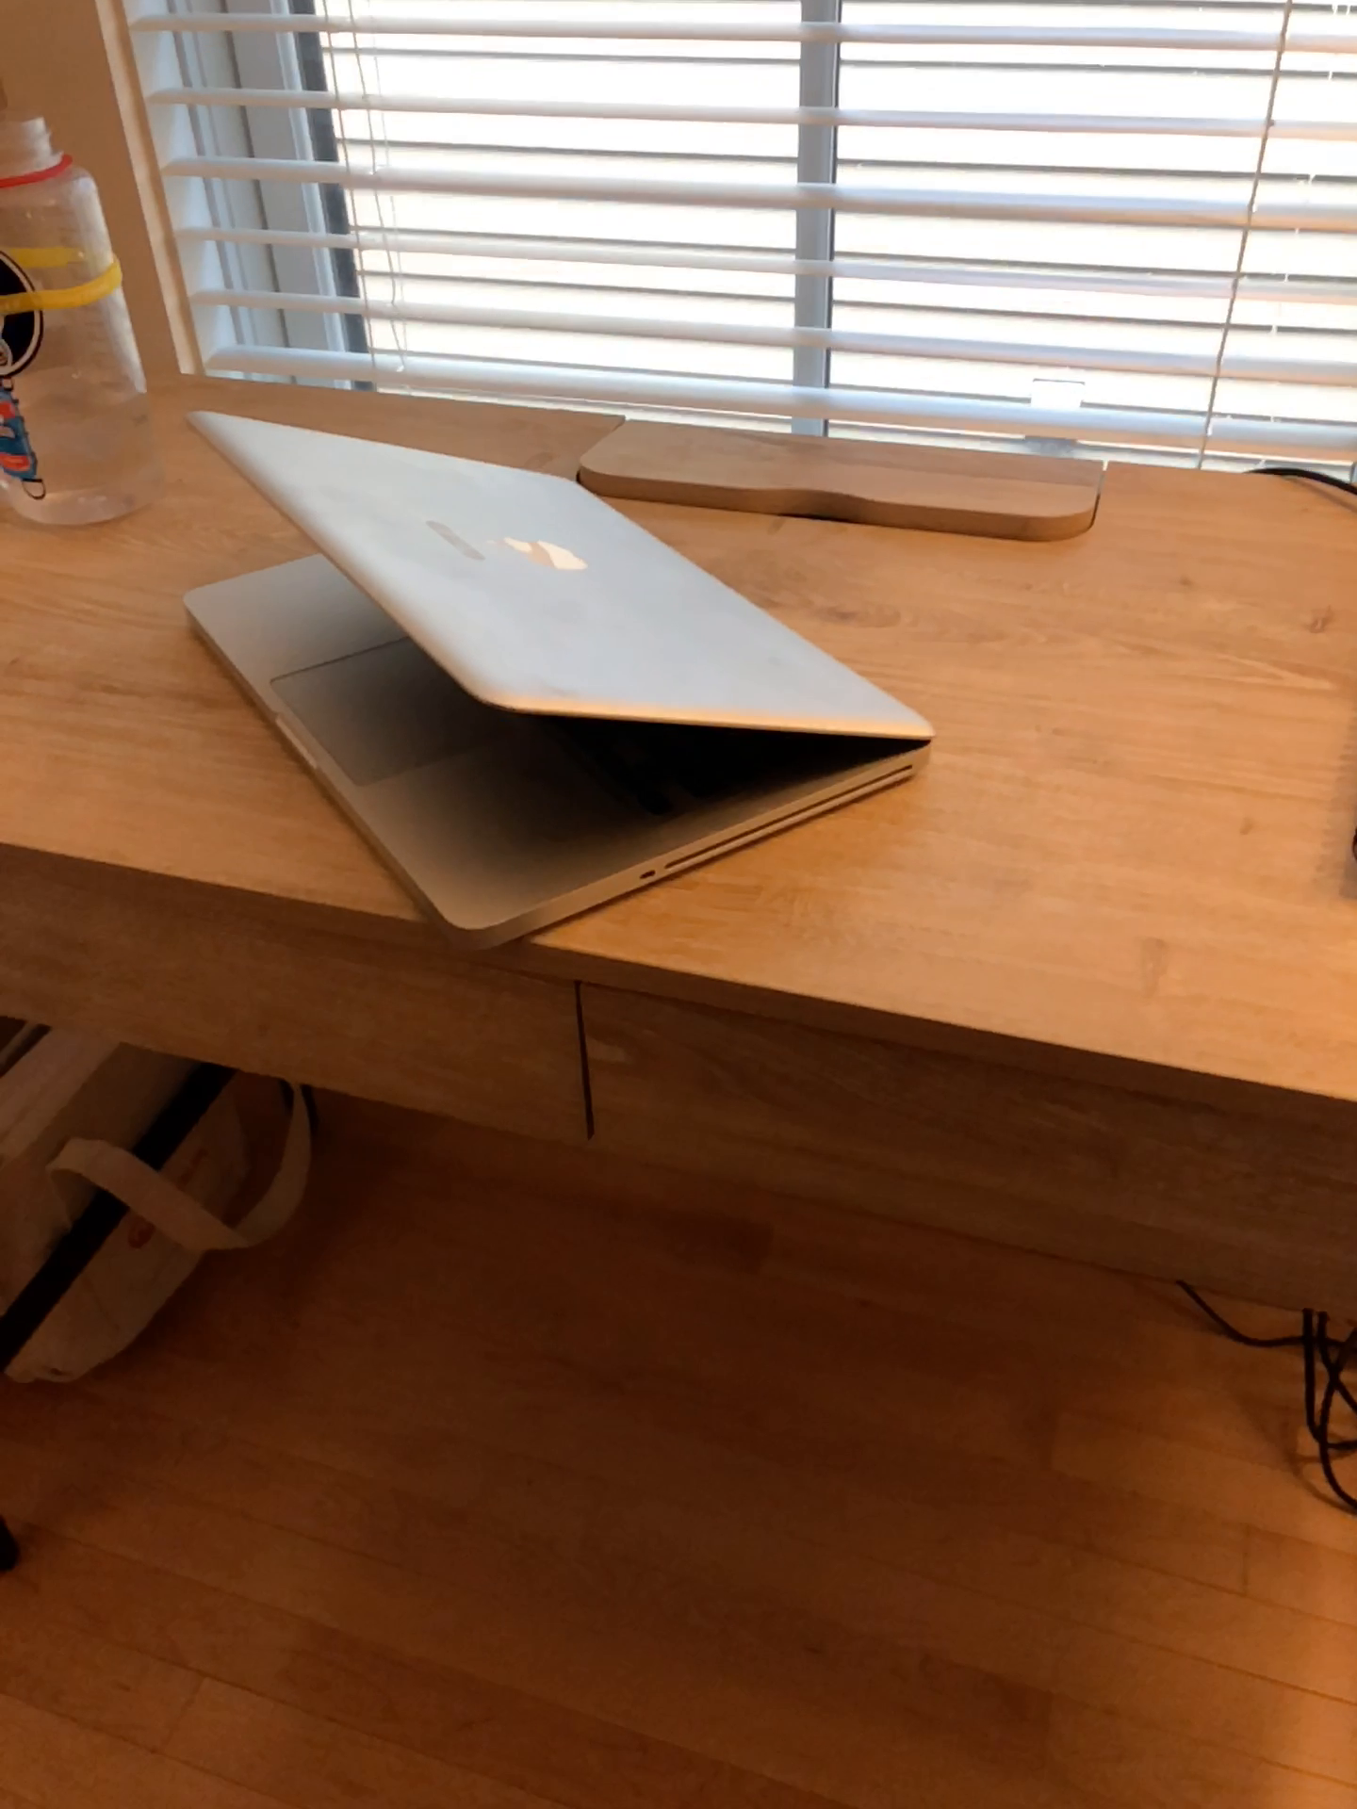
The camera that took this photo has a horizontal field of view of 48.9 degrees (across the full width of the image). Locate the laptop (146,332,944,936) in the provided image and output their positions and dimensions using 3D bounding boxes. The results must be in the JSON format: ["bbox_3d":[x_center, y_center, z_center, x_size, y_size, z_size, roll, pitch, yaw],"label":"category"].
[{"bbox_3d":[-0.068,-0.138,0.632,0.209,0.082,0.301,-23,43,-23],"label":"laptop"}]
